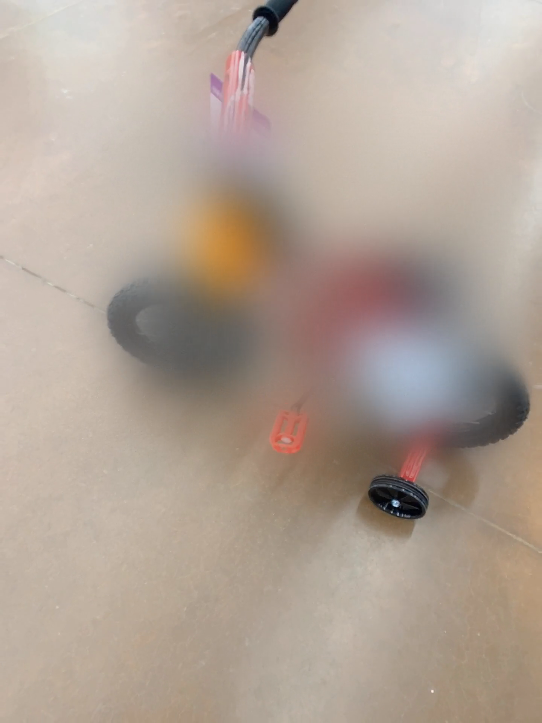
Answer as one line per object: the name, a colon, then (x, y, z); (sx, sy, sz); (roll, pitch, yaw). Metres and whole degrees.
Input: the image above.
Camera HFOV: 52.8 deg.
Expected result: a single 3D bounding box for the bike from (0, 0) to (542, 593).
bike: (0.073, -0.088, 0.739); (0.703, 0.627, 0.459); (15, 54, 2)
